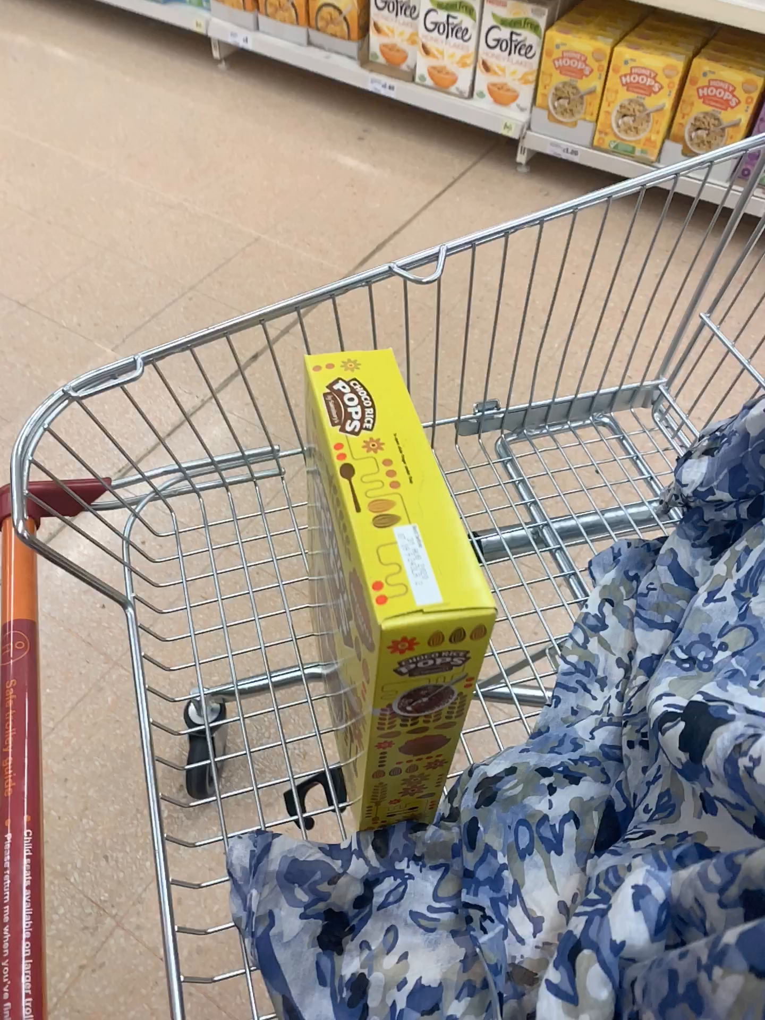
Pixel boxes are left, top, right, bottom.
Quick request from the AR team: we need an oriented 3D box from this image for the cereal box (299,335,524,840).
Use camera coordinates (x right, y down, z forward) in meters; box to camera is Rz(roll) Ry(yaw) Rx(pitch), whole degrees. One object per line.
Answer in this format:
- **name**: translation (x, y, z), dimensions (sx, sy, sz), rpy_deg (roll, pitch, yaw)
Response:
- **cereal box**: translation (-0.004, 0.061, 0.501), dimensions (0.060, 0.268, 0.202), rpy_deg (-9, 52, -13)
